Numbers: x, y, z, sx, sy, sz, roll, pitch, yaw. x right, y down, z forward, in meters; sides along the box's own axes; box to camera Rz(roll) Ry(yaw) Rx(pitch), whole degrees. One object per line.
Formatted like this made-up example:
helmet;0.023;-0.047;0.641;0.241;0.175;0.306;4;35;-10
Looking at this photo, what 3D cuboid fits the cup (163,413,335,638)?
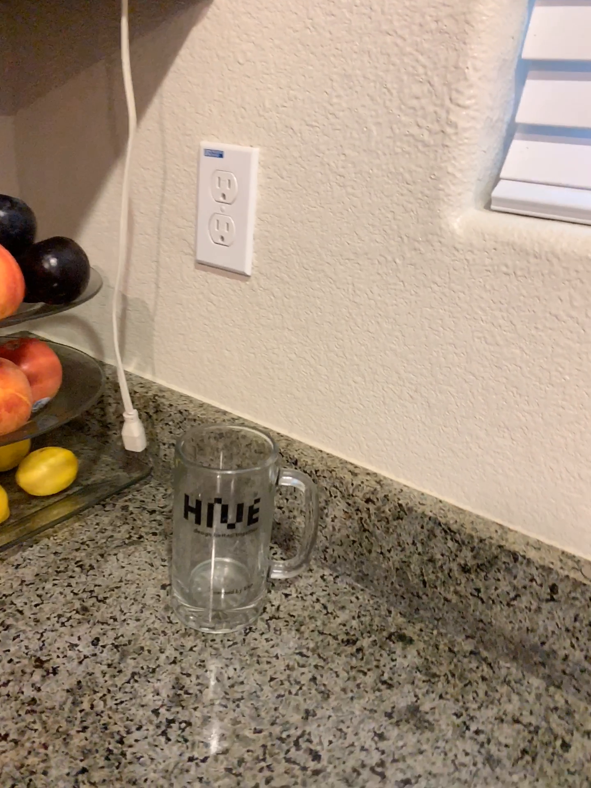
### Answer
cup;-0.043;0.108;0.497;0.120;0.159;0.081;3;23;-8
